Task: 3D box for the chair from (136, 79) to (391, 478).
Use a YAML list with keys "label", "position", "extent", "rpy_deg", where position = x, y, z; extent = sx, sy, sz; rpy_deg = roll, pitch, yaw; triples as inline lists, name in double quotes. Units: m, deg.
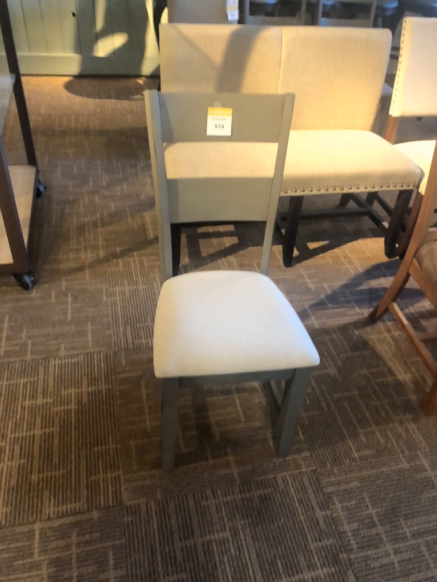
- label: "chair"
  position: [0.015, -0.017, 1.415]
  extent: [0.460, 0.964, 0.634]
  rpy_deg: [-3, 41, -10]
